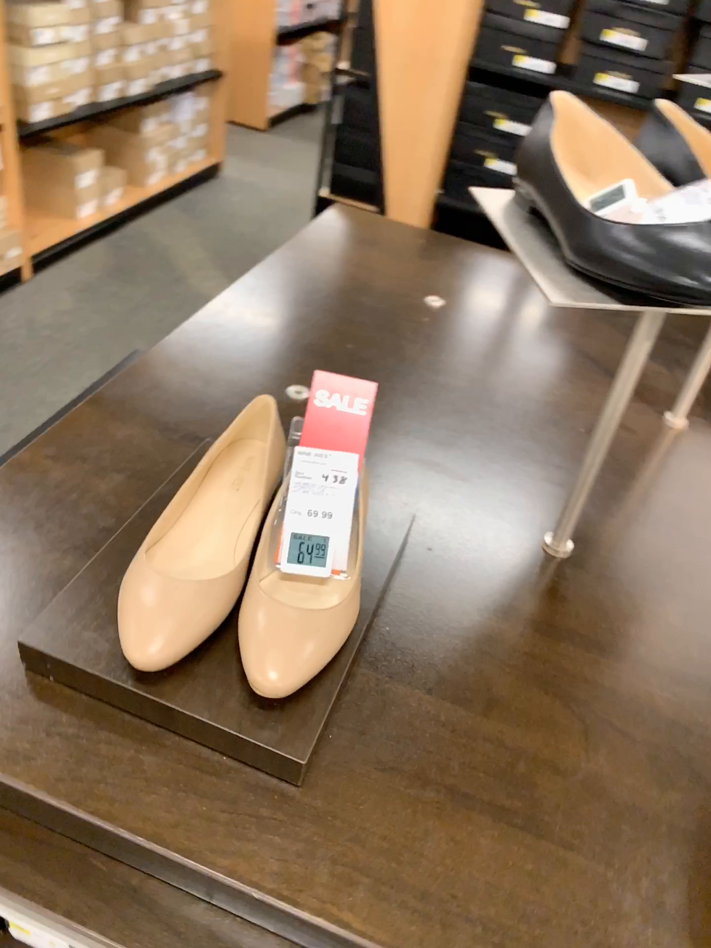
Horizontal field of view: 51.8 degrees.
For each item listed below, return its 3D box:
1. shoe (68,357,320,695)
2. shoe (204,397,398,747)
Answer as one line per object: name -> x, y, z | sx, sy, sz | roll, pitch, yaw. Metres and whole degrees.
shoe -> -0.101, 0.020, 0.527 | 0.090, 0.080, 0.251 | 14, 38, 2
shoe -> -0.029, 0.053, 0.528 | 0.090, 0.080, 0.251 | 11, 38, -1
